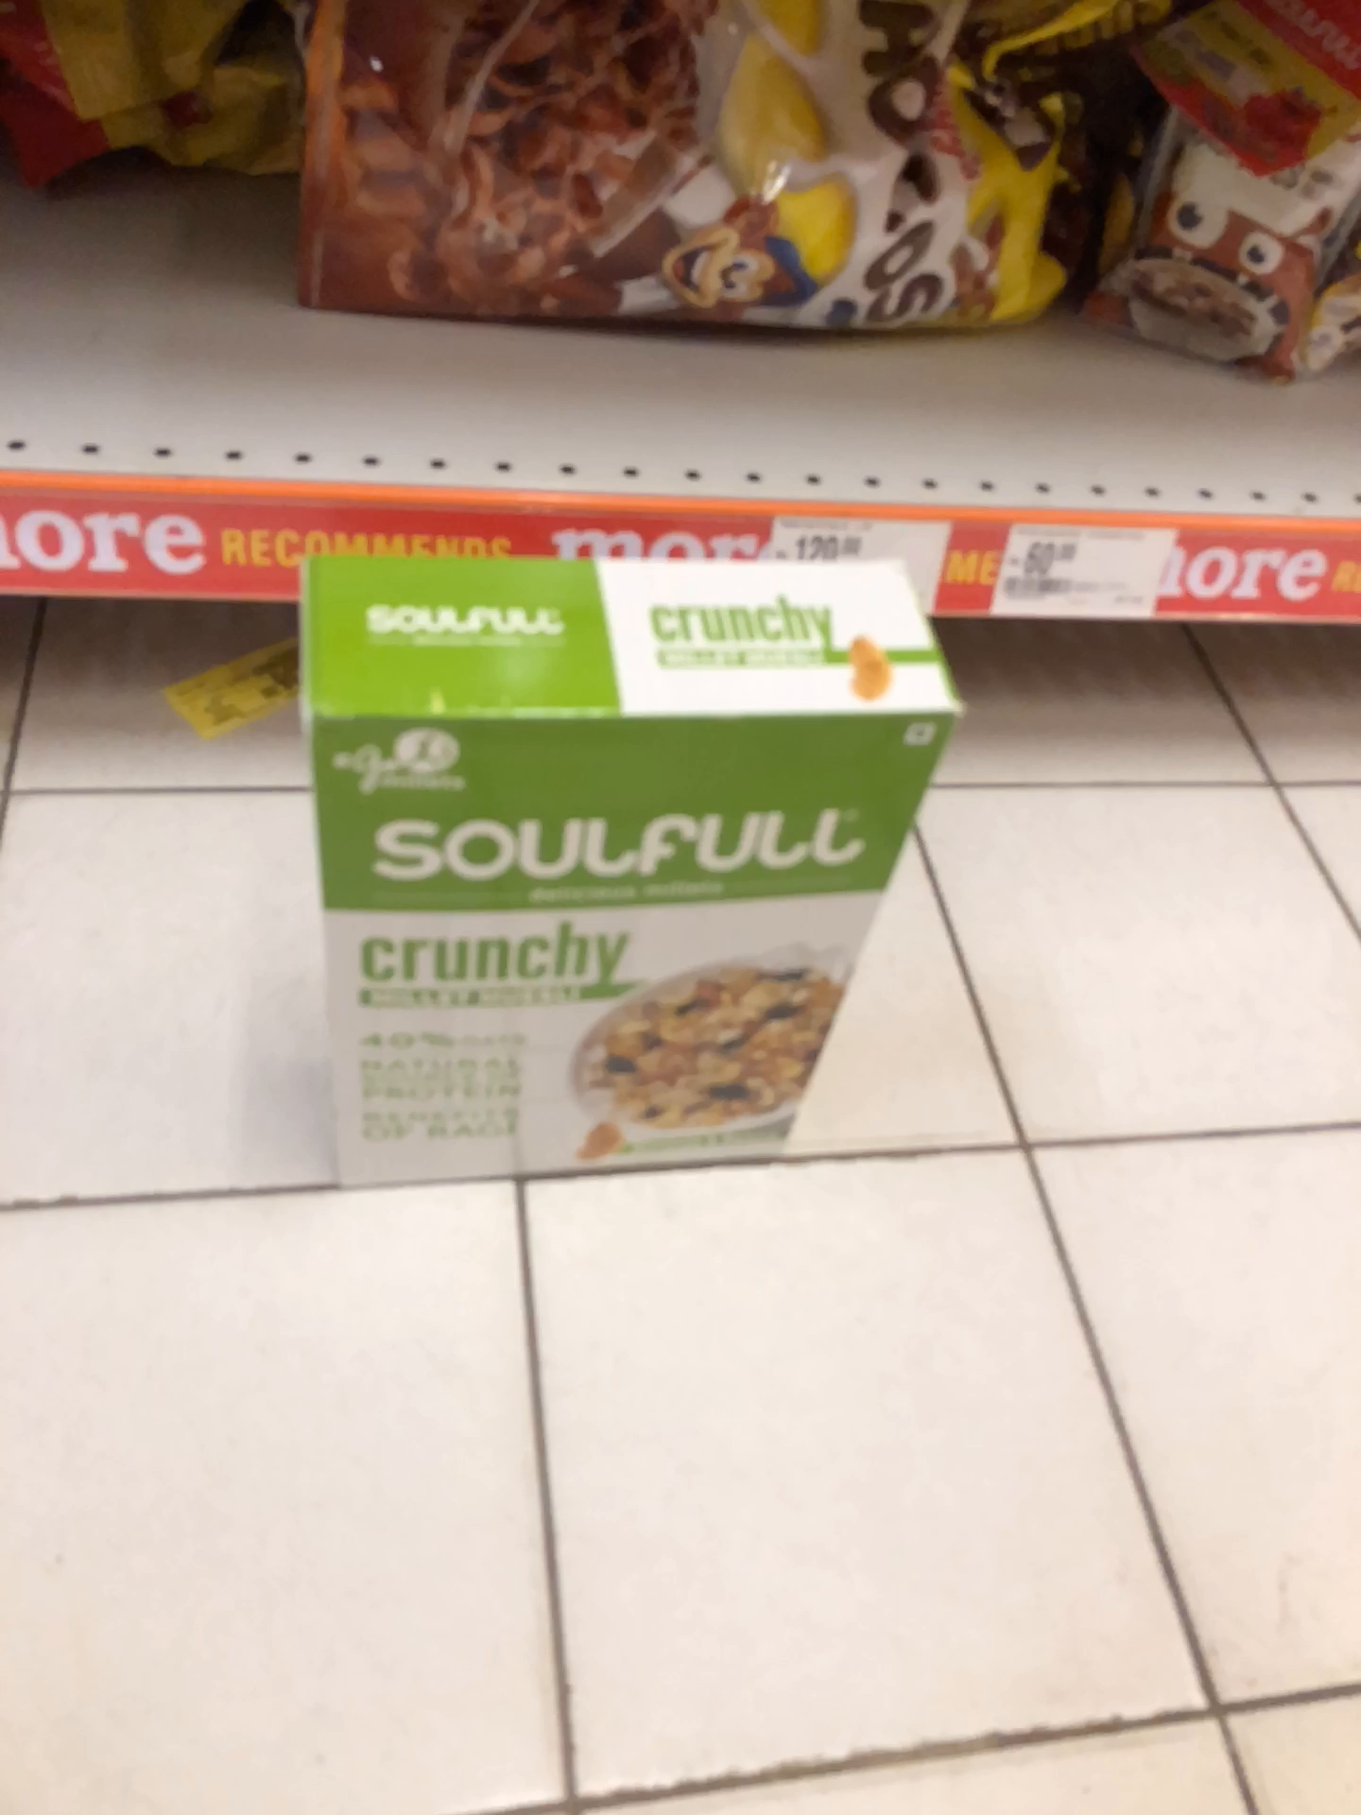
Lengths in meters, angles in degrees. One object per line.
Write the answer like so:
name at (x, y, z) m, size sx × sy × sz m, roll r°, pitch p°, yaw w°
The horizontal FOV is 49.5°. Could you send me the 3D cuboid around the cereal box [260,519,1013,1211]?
cereal box at (-0.026, 0.001, 0.456) m, size 0.180 × 0.238 × 0.060 m, roll -2°, pitch 50°, yaw -12°
